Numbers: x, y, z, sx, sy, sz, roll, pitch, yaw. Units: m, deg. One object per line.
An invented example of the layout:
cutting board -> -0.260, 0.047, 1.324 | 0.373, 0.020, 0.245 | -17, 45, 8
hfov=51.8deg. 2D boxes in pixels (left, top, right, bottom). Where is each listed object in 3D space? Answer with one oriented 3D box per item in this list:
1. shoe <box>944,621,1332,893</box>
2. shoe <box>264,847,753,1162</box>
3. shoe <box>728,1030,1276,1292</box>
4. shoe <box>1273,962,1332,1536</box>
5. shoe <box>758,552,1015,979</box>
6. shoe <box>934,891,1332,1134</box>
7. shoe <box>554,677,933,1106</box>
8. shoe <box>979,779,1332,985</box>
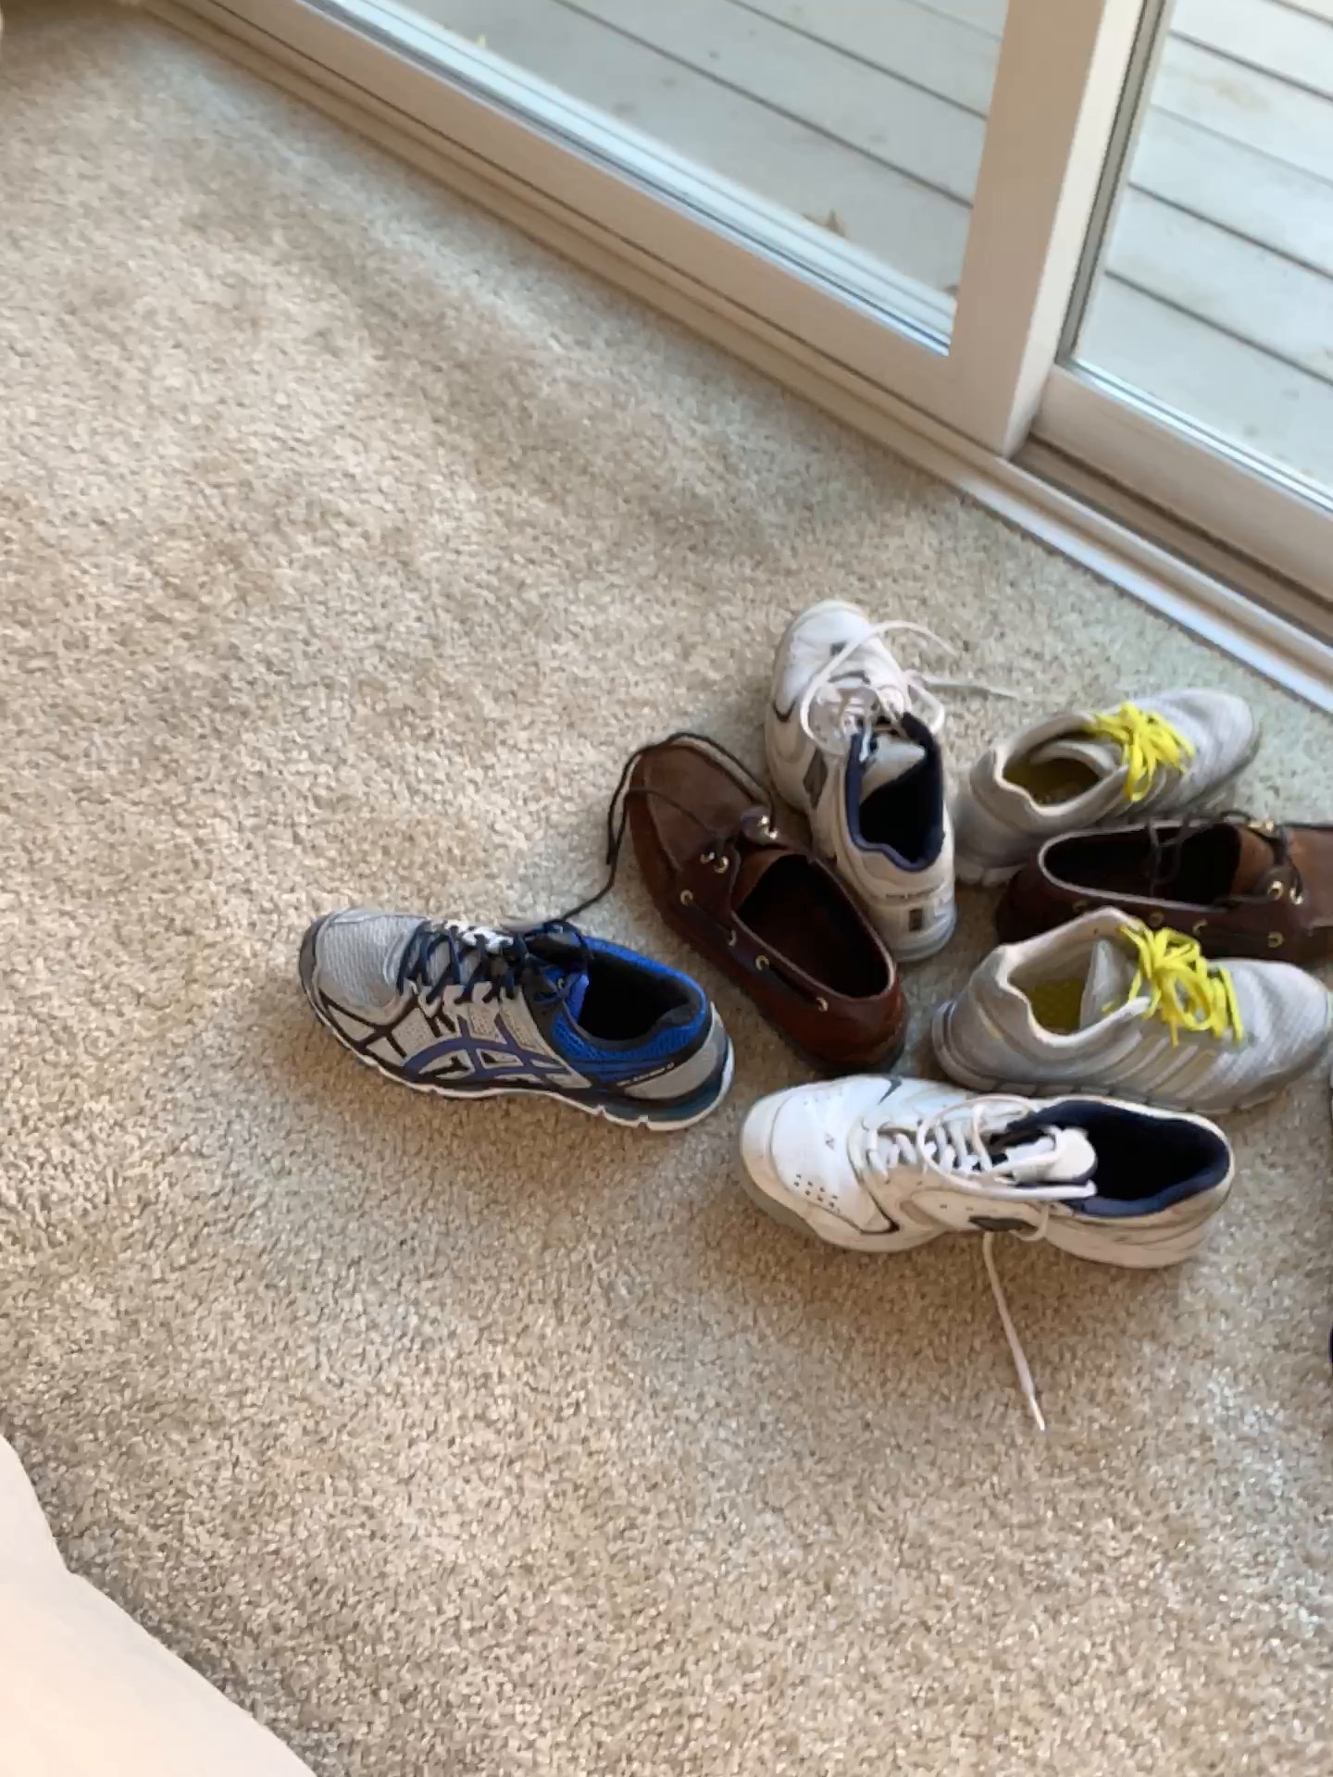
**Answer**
shoe -> 0.317, -0.090, 0.924 | 0.230, 0.060, 0.100 | -20, 60, -12
shoe -> -0.091, 0.070, 0.853 | 0.270, 0.090, 0.110 | 12, 60, 10
shoe -> 0.179, 0.157, 0.785 | 0.280, 0.110, 0.090 | 4, 59, 6
shoe -> 0.444, 0.197, 0.771 | 0.110, 0.110, 0.291 | 1, 60, 2
shoe -> 0.140, -0.089, 0.943 | 0.100, 0.110, 0.271 | -9, 58, -4
shoe -> 0.284, 0.072, 0.788 | 0.240, 0.090, 0.100 | 2, 59, 2
shoe -> 0.045, -0.003, 0.934 | 0.100, 0.110, 0.271 | -32, 62, -17
shoe -> 0.357, -0.004, 0.890 | 0.280, 0.080, 0.100 | -1, 59, 0
